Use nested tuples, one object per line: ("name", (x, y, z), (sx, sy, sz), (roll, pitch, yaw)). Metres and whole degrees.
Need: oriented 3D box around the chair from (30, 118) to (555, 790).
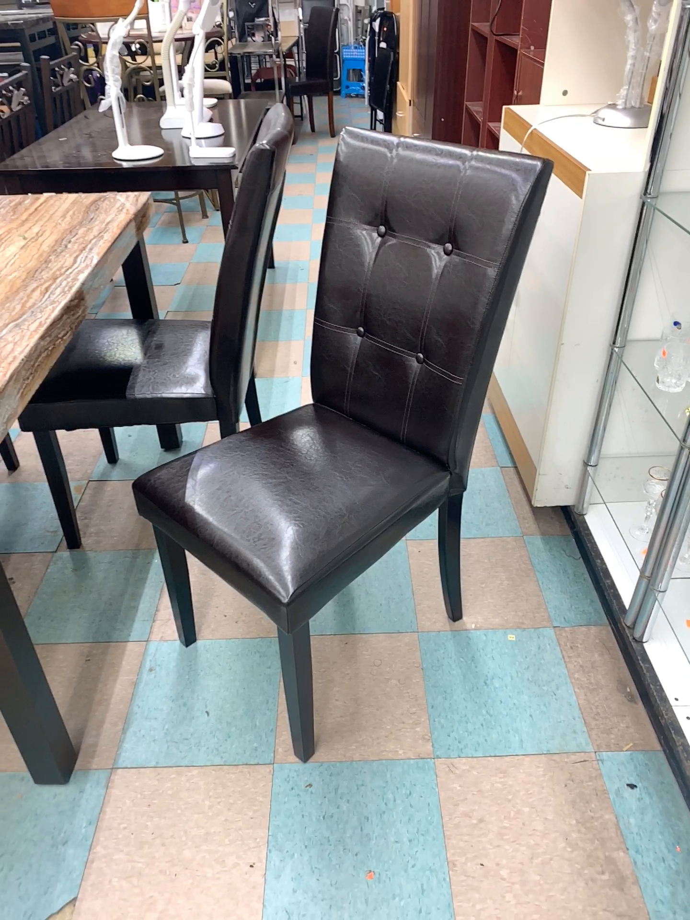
("chair", (-0.055, -0.024, 1.251), (0.556, 0.949, 0.485), (-30, 44, -34))
